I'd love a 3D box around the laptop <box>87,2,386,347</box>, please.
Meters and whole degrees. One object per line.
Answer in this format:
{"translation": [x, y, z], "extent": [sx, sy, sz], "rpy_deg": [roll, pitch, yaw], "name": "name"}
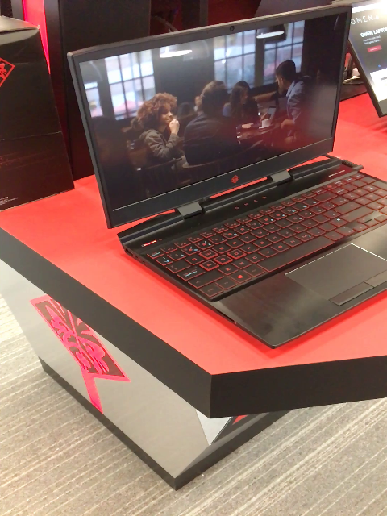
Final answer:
{"translation": [0.136, -0.114, 0.559], "extent": [0.354, 0.224, 0.257], "rpy_deg": [-26, 49, -26], "name": "laptop"}
